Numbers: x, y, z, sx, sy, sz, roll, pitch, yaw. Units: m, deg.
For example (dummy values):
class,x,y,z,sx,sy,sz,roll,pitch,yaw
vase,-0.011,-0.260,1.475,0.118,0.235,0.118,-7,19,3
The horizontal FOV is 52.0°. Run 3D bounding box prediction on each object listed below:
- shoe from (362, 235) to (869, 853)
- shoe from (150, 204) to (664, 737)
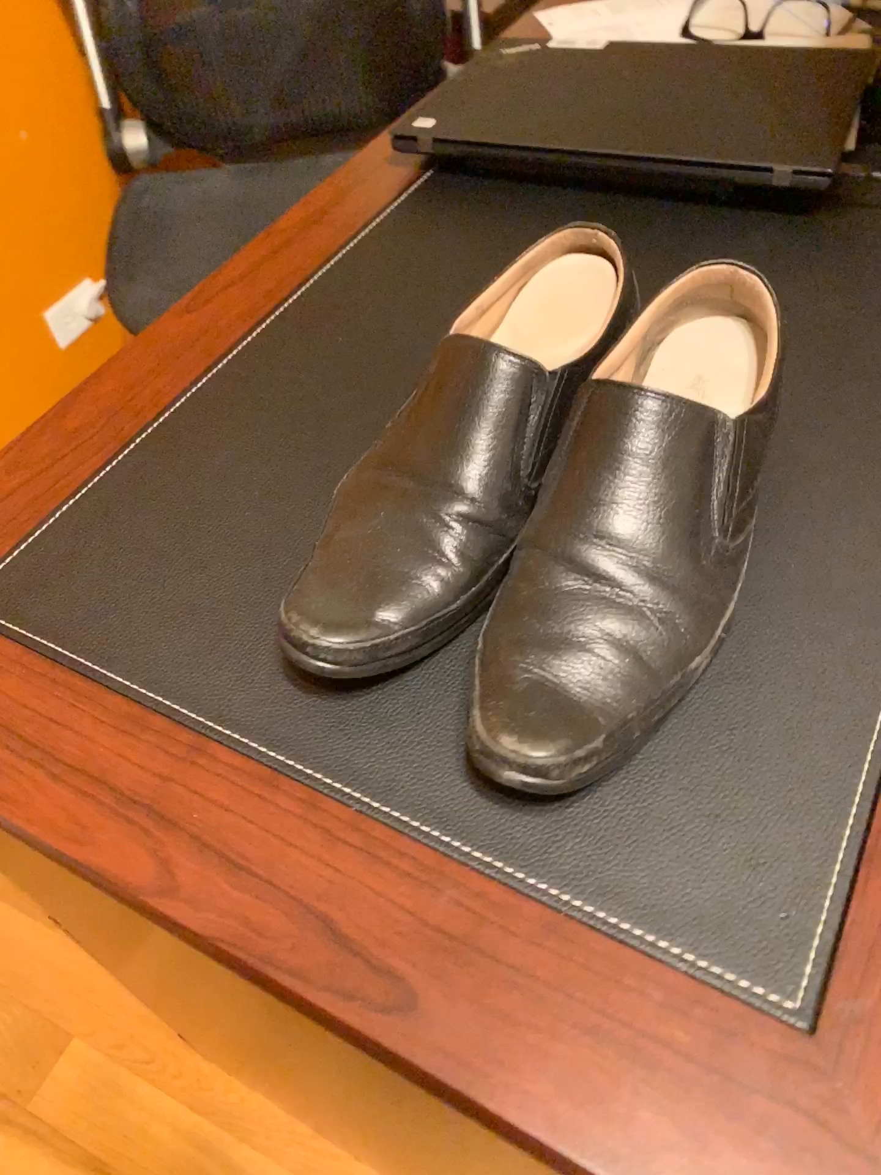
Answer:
class,x,y,z,sx,sy,sz,roll,pitch,yaw
shoe,0.092,-0.043,0.402,0.106,0.077,0.286,20,55,23
shoe,0.004,-0.078,0.449,0.110,0.077,0.286,20,55,23
